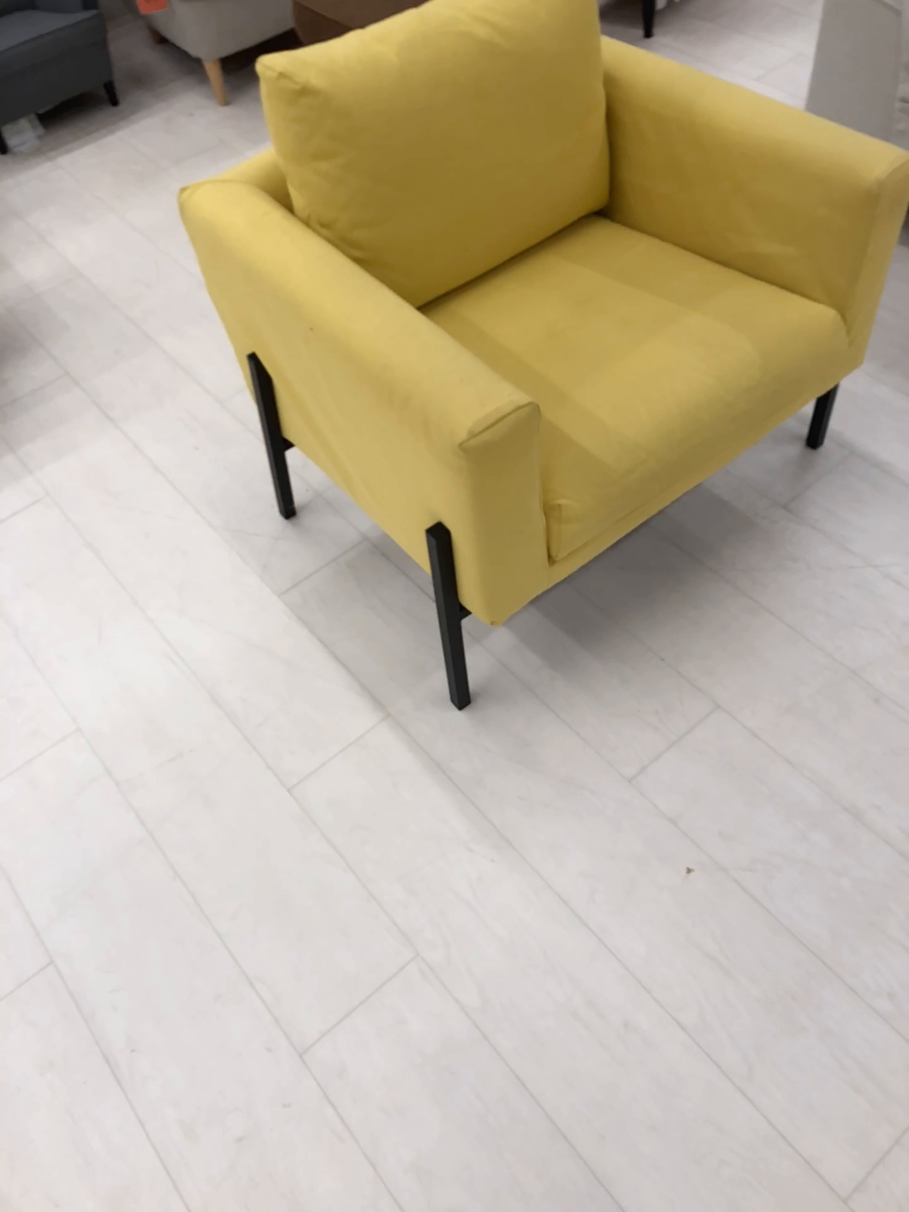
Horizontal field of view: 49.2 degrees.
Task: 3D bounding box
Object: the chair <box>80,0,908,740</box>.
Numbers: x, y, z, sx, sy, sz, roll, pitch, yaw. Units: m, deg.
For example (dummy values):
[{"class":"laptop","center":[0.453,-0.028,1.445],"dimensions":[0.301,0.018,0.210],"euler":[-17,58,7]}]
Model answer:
[{"class":"chair","center":[0.146,-0.493,1.567],"dimensions":[0.981,0.758,0.691],"euler":[-35,57,-20]}]
